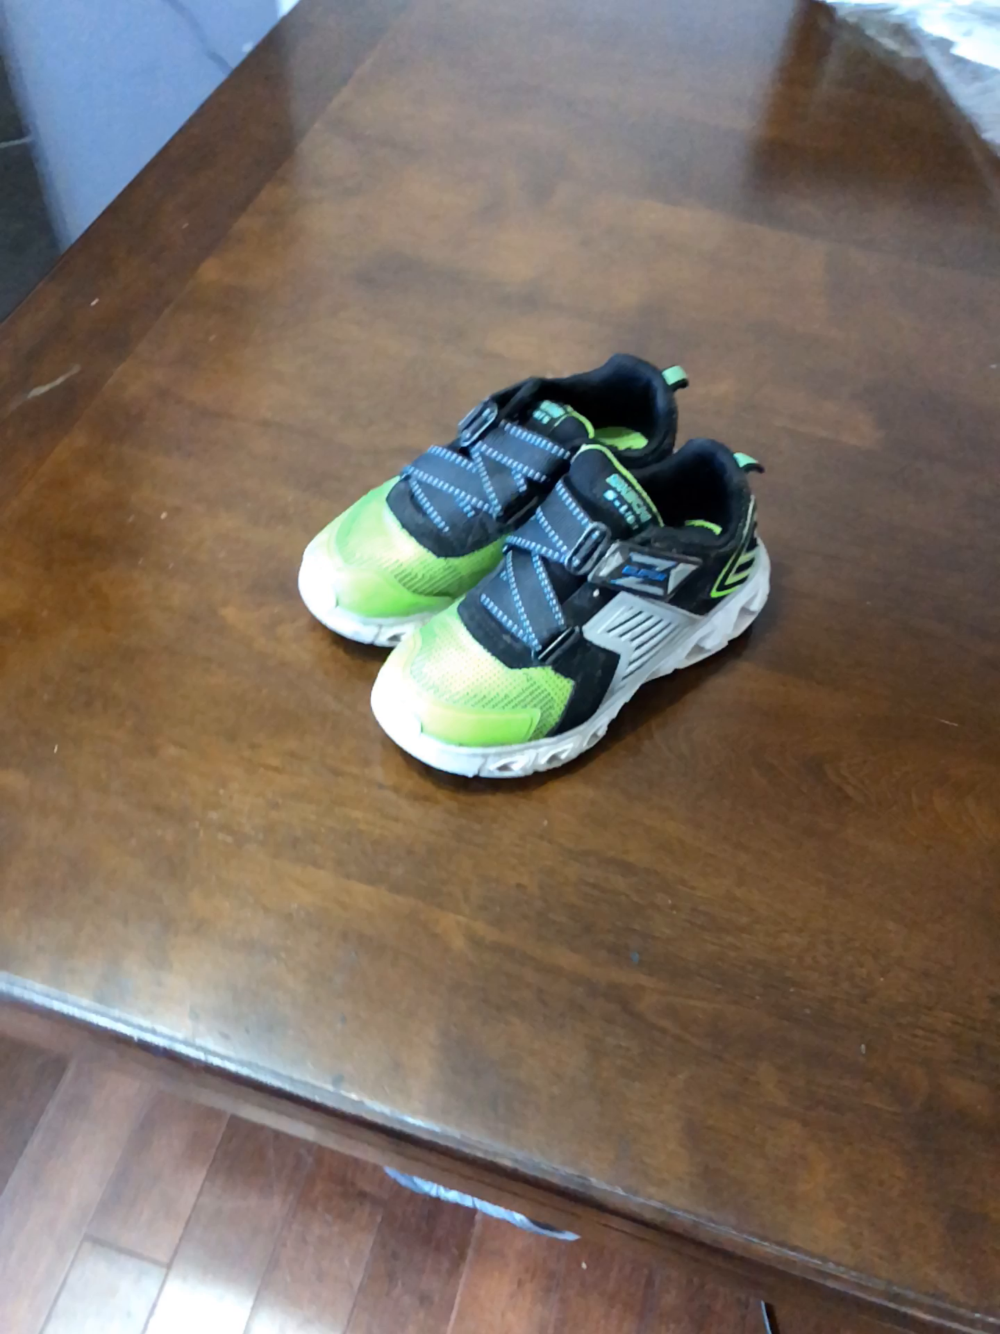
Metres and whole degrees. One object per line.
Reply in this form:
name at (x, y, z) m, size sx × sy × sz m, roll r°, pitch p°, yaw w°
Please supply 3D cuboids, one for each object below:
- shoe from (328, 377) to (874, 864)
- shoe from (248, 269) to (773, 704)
shoe at (0.043, -0.025, 0.497) m, size 0.210 × 0.100 × 0.100 m, roll -29°, pitch 62°, yaw -22°
shoe at (0.005, -0.089, 0.527) m, size 0.210 × 0.100 × 0.100 m, roll -25°, pitch 61°, yaw -20°
